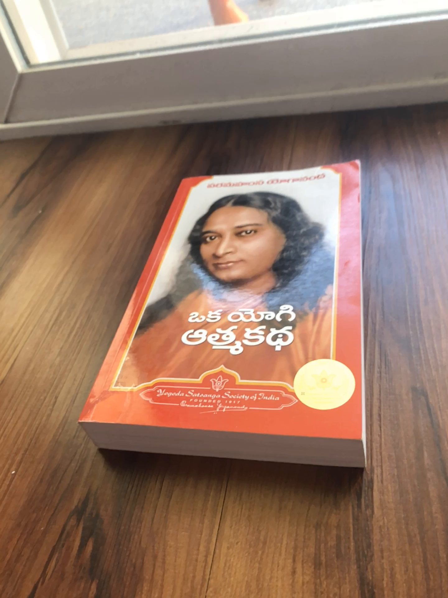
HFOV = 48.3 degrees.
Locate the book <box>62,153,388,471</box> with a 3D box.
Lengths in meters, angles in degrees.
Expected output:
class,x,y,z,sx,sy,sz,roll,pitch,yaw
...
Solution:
class,x,y,z,sx,sy,sz,roll,pitch,yaw
book,0.017,-0.012,0.300,0.148,0.030,0.215,-1,45,16
